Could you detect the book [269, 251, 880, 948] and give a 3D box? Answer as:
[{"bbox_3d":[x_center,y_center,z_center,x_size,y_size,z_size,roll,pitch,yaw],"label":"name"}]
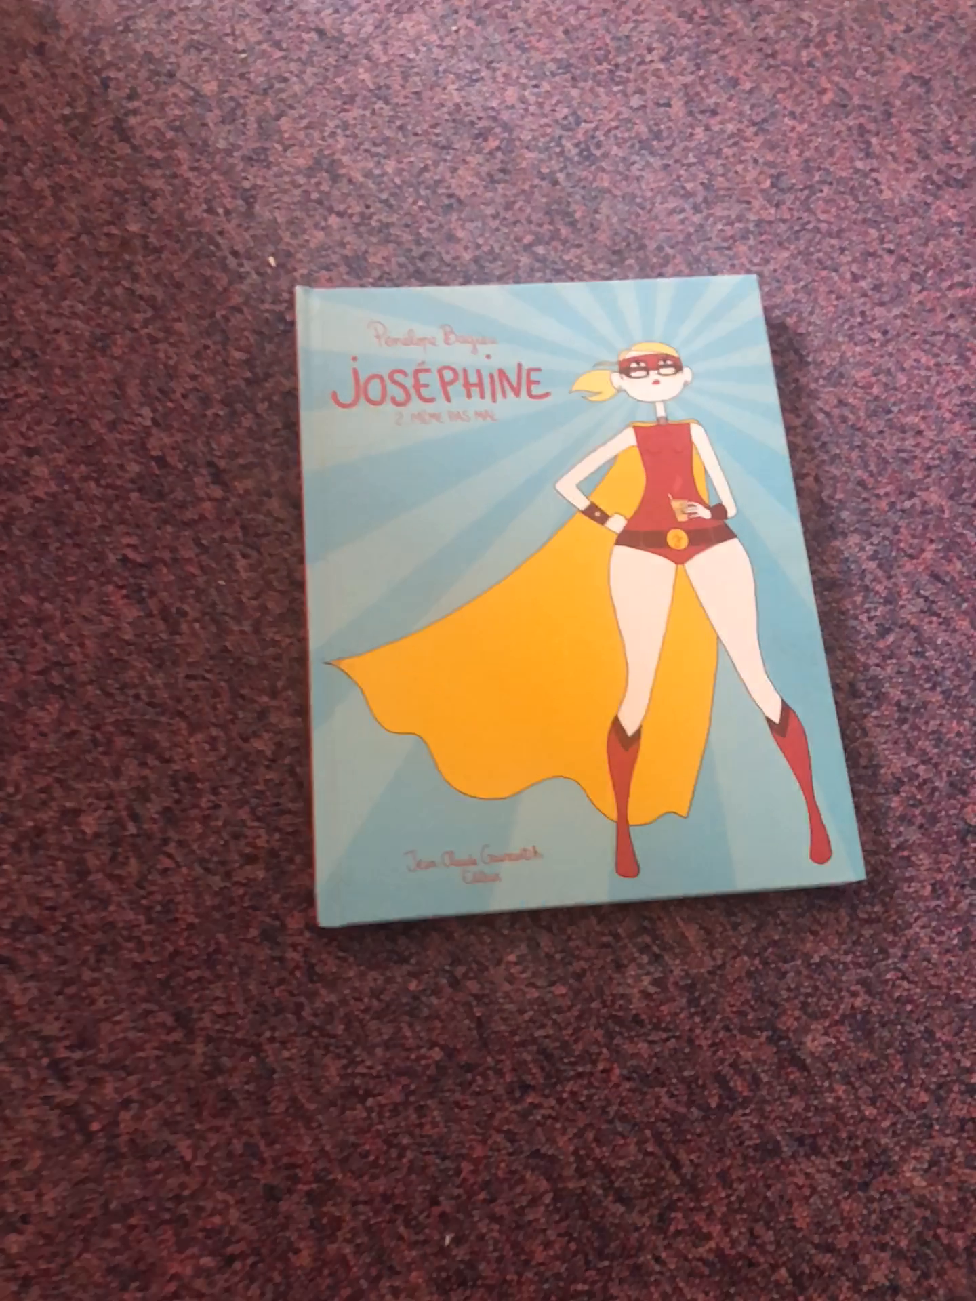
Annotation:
[{"bbox_3d":[0.027,-0.038,0.473,0.234,0.020,0.307,-3,72,-5],"label":"book"}]
